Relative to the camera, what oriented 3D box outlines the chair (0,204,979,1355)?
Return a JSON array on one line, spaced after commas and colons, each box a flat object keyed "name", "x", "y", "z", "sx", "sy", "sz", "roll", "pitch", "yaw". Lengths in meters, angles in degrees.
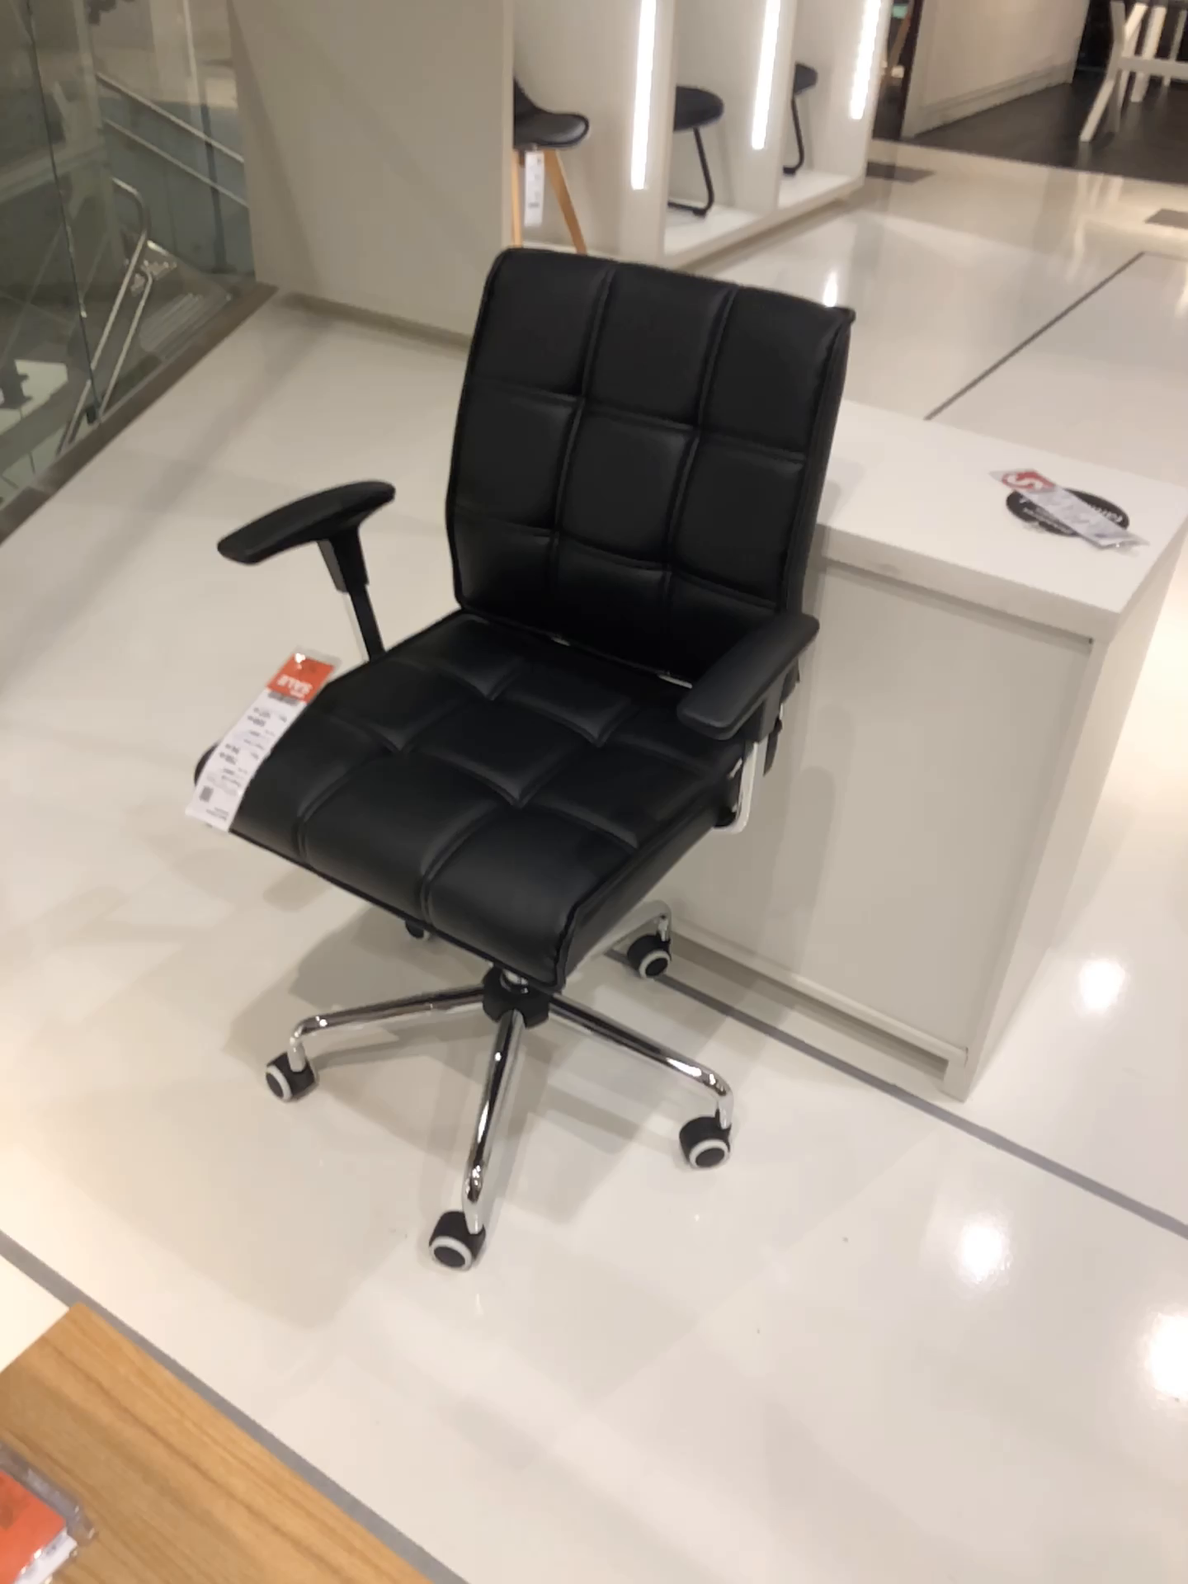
[{"name": "chair", "x": -0.070, "y": -0.067, "z": 1.484, "sx": 0.621, "sy": 0.913, "sz": 0.745, "roll": 20, "pitch": 39, "yaw": 22}]
